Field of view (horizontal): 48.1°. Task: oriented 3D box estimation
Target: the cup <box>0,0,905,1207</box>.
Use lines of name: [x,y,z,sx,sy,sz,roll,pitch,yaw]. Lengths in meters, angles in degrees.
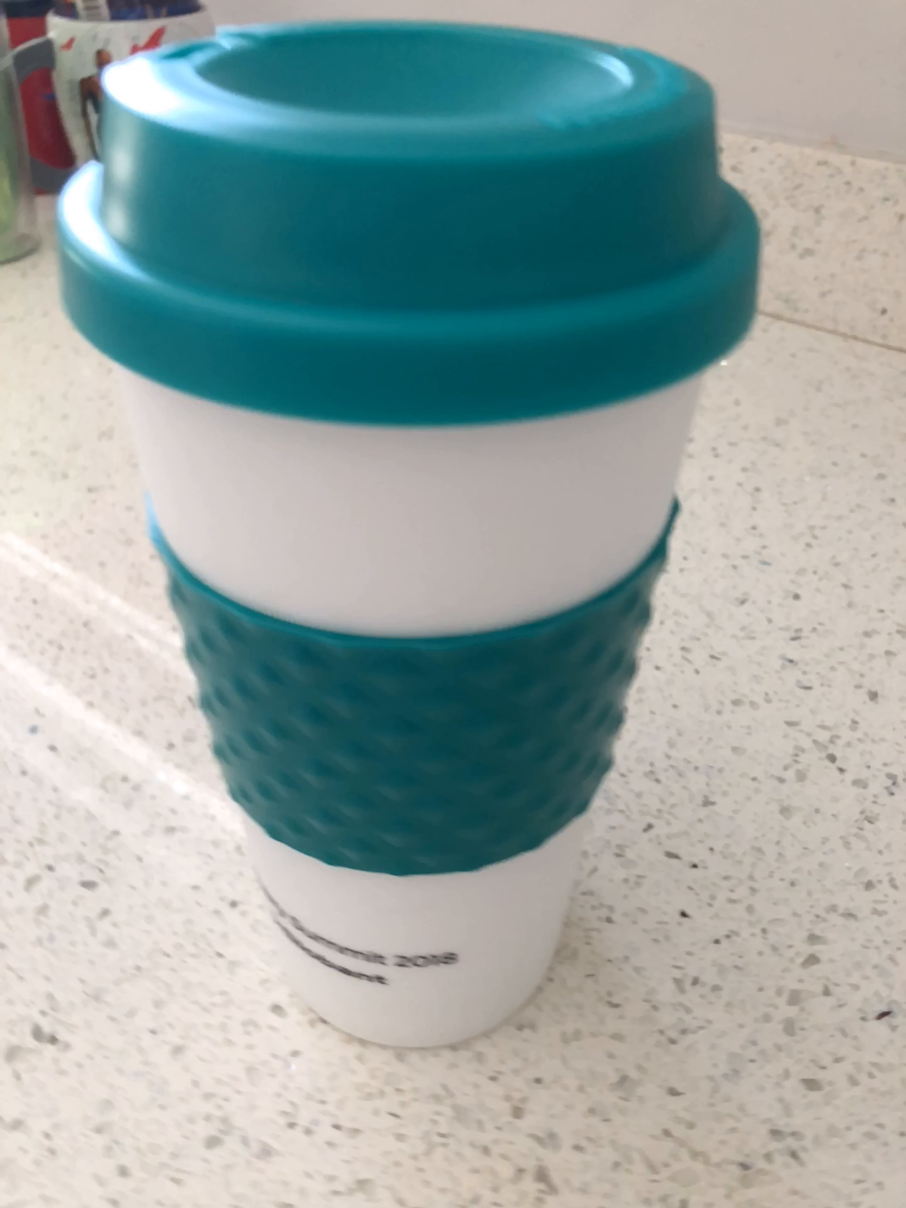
cup: [-0.004,-0.005,0.180,0.100,0.169,0.100,0,38,0]
